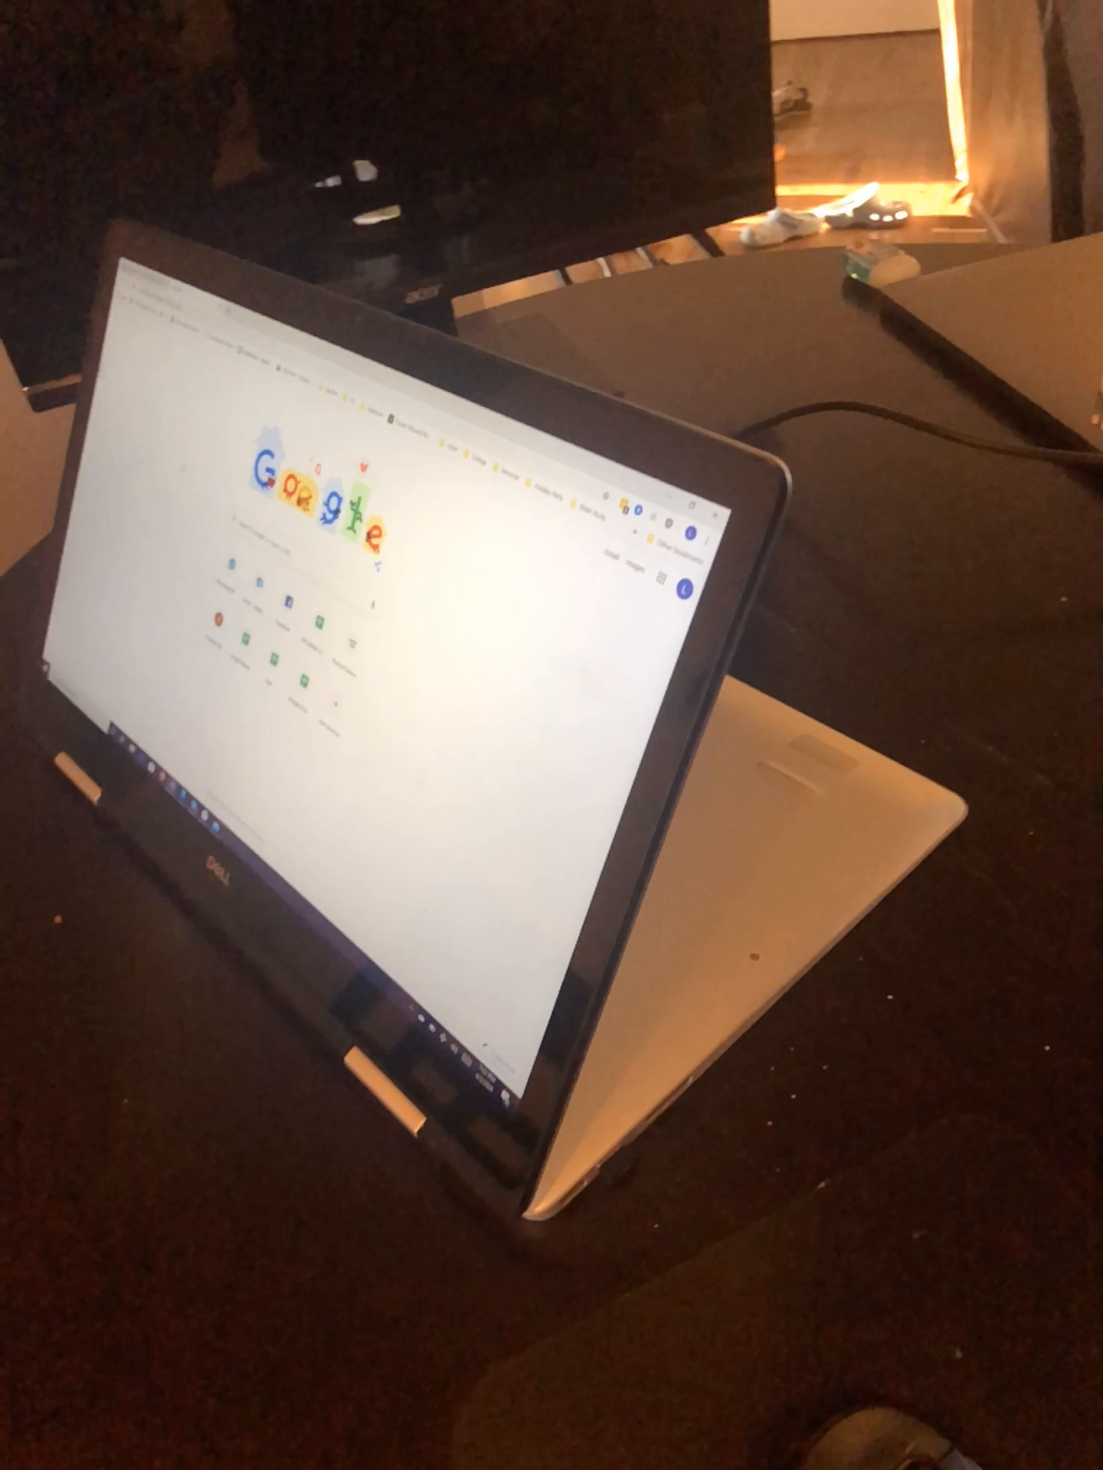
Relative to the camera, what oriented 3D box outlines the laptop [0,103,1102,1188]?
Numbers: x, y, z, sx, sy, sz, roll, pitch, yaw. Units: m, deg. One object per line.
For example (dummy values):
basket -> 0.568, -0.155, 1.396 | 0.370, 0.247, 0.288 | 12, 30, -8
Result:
laptop -> -0.059, -0.088, 0.523 | 0.267, 0.232, 0.420 | -34, 46, -26
